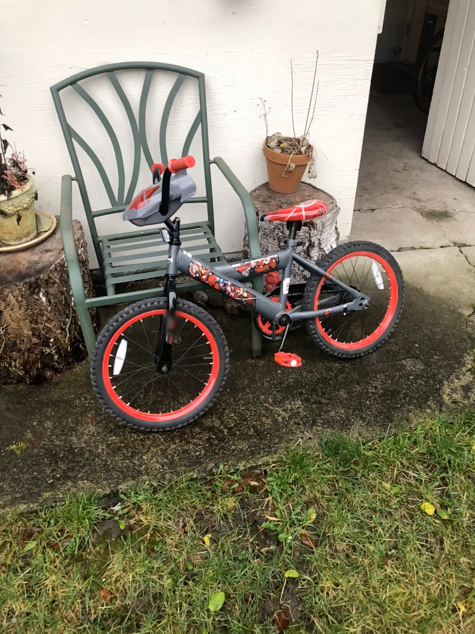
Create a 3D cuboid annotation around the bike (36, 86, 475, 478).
[{"bbox_3d":[0.056,-0.174,1.775,1.200,0.853,0.604,-17,39,-17],"label":"bike"}]
